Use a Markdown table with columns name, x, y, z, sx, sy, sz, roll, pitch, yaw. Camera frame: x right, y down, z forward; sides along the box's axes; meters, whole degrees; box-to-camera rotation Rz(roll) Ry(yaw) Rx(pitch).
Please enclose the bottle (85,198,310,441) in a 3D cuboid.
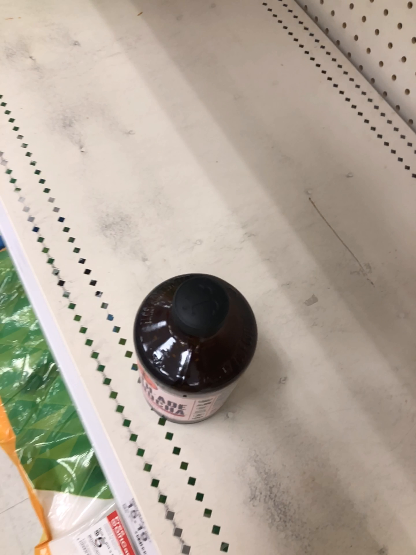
| name | x | y | z | sx | sy | sz | roll | pitch | yaw |
| --- | --- | --- | --- | --- | --- | --- | --- | --- | --- |
| bottle | -0.011 | 0.043 | 0.323 | 0.089 | 0.170 | 0.086 | 2 | 65 | -3 |
